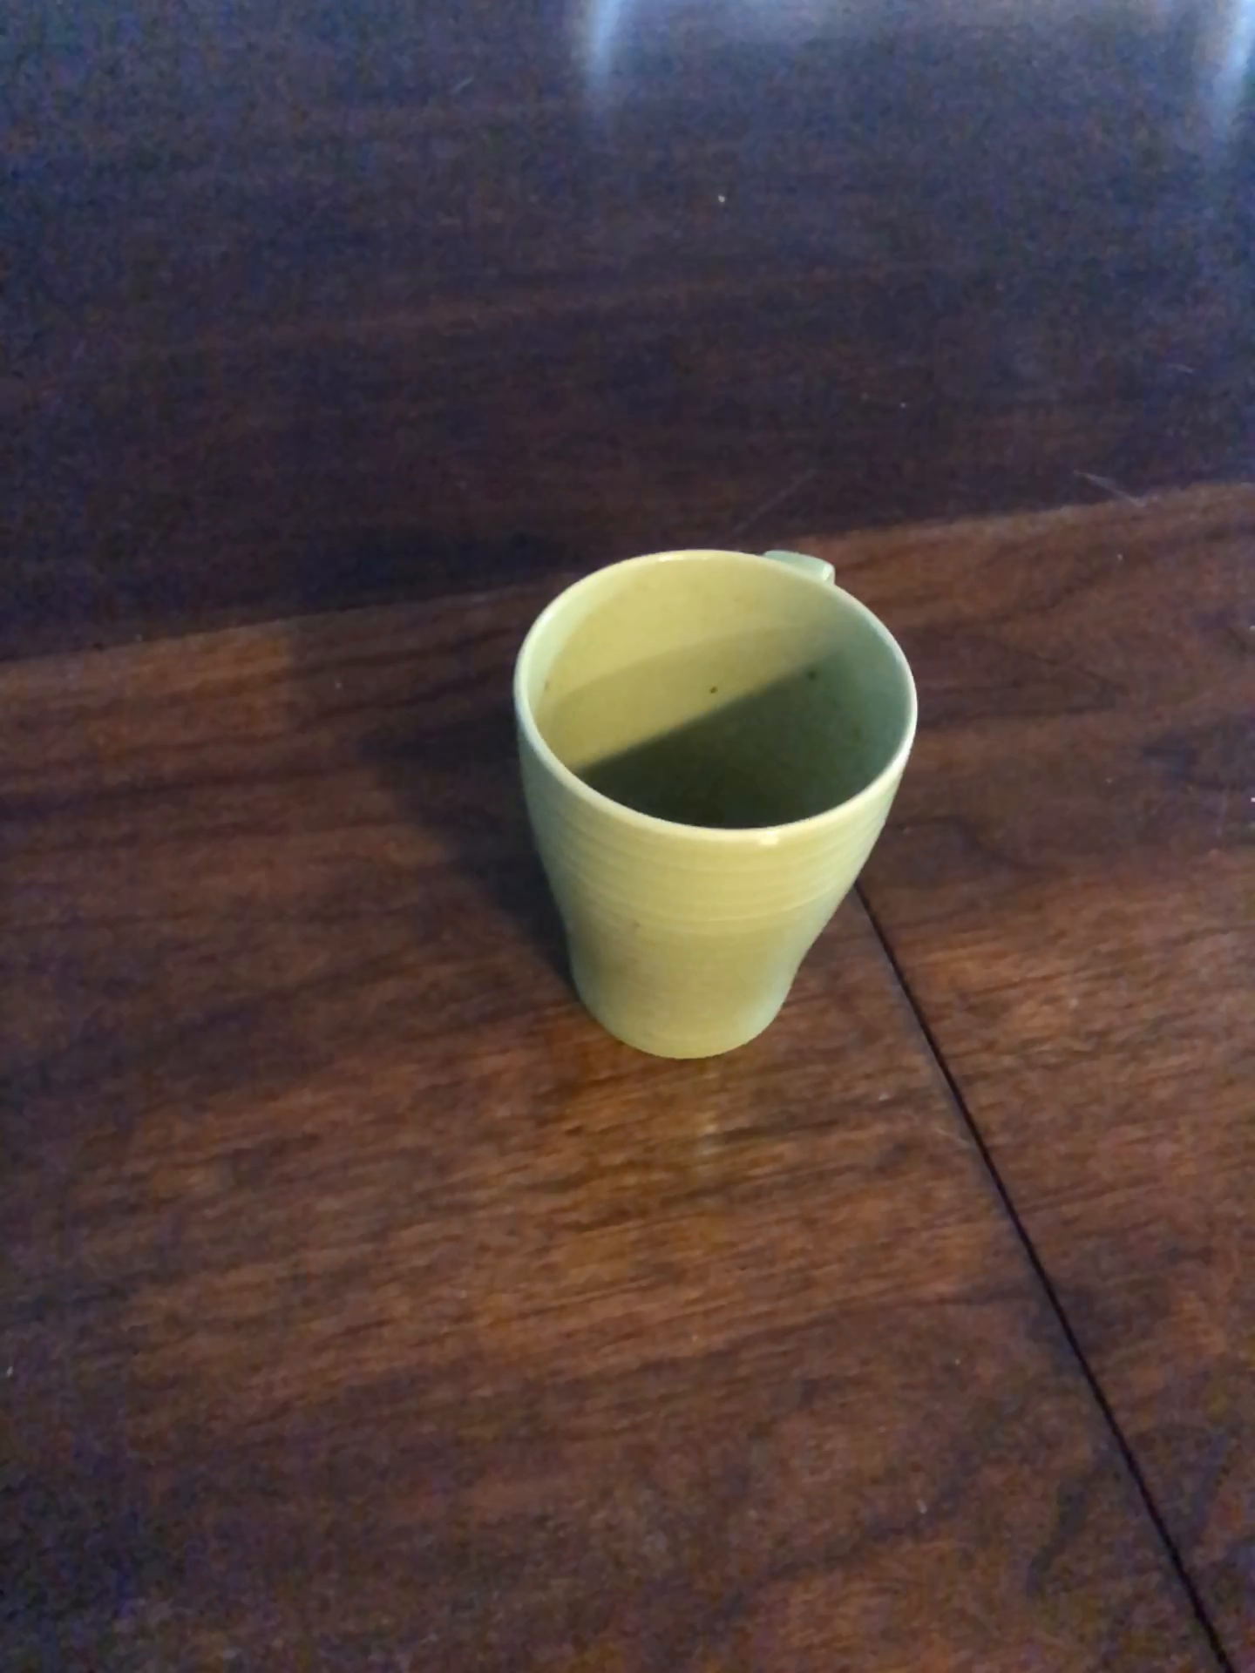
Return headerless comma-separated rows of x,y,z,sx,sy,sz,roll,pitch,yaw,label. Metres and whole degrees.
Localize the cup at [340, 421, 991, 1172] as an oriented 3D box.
0.011,-0.013,0.317,0.090,0.090,0.120,22,52,14,cup
